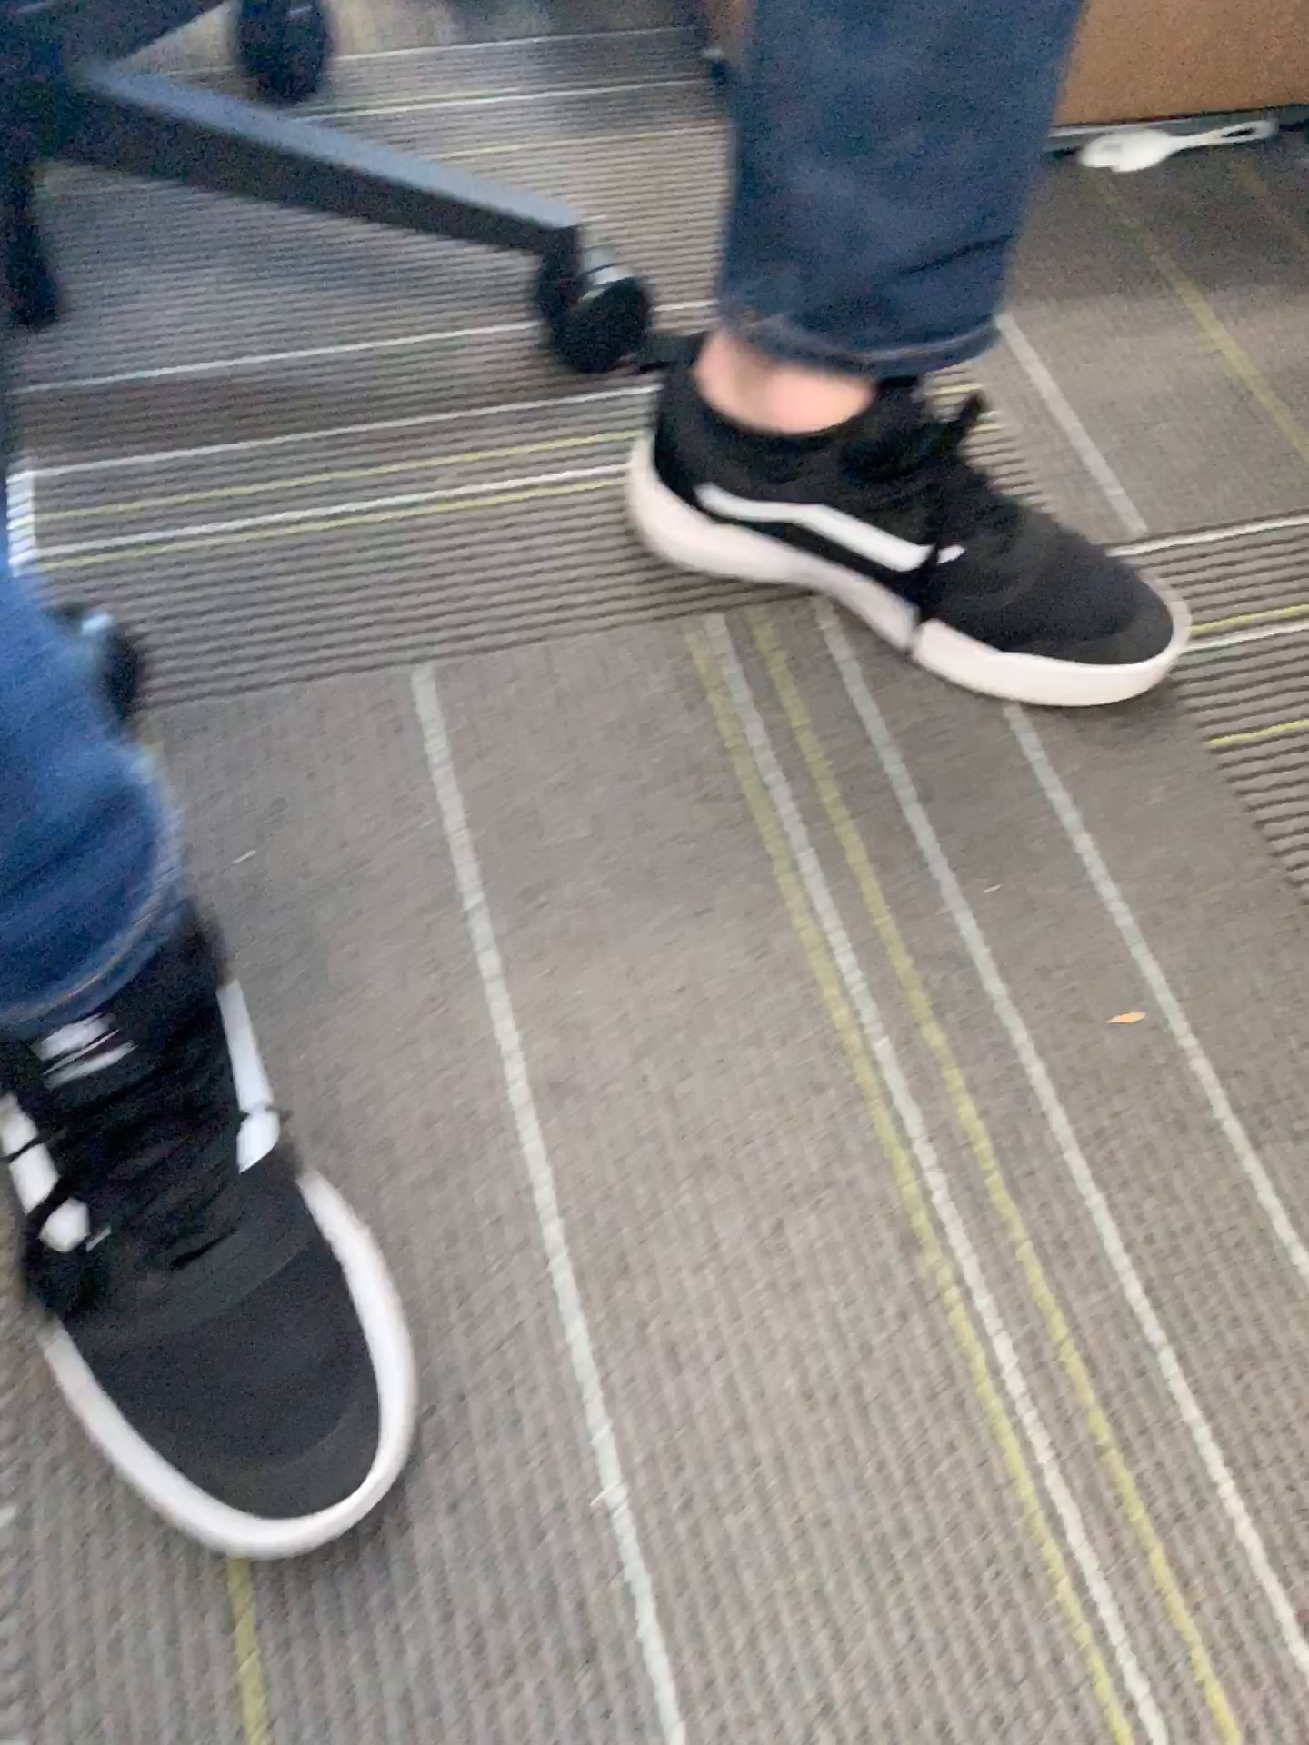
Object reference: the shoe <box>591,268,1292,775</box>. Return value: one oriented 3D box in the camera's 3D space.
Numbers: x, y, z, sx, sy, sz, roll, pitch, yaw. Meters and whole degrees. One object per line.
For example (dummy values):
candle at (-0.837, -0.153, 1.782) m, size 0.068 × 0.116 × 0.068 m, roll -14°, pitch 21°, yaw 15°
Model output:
shoe at (0.138, -0.185, 0.701) m, size 0.320 × 0.110 × 0.120 m, roll 23°, pitch 60°, yaw 10°

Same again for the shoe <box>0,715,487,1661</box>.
shoe at (-0.195, 0.110, 0.522) m, size 0.120 × 0.120 × 0.321 m, roll -26°, pitch 63°, yaw -18°
